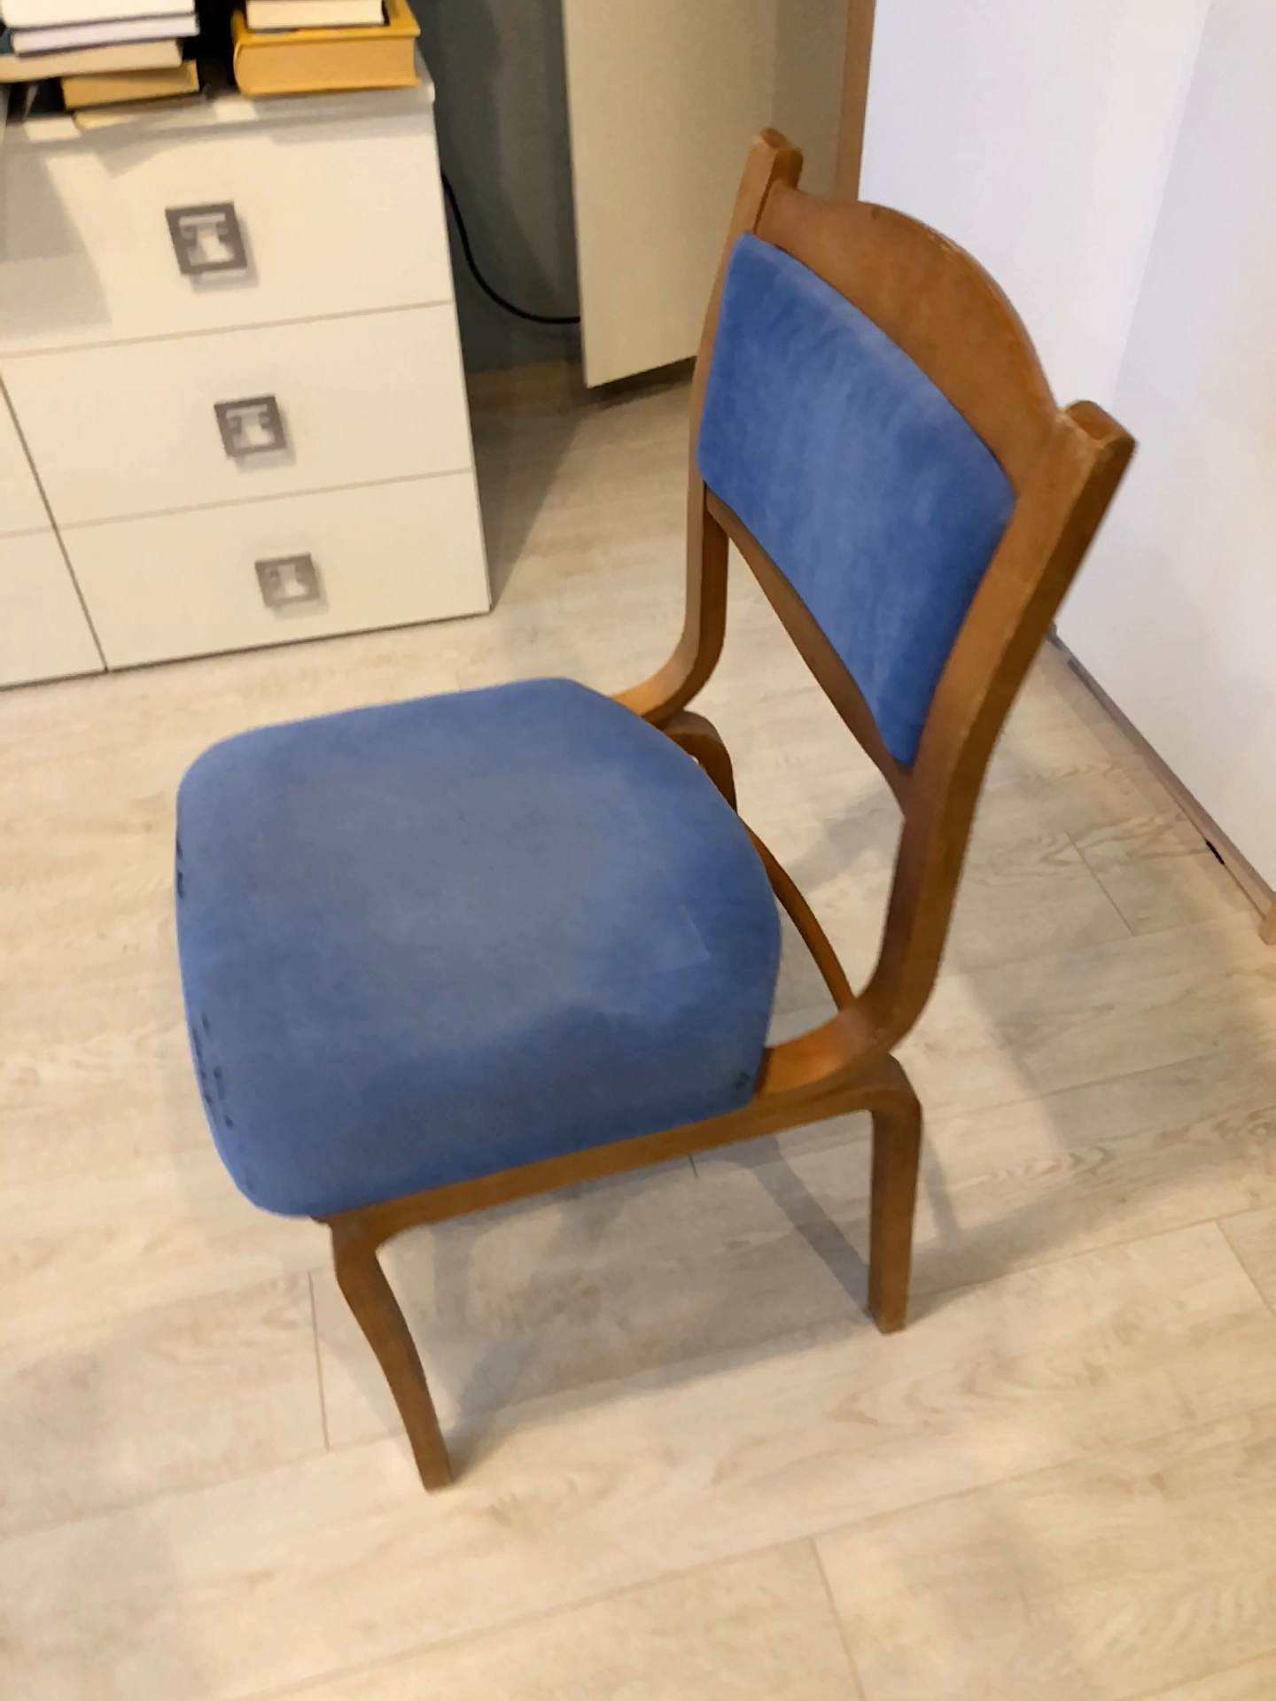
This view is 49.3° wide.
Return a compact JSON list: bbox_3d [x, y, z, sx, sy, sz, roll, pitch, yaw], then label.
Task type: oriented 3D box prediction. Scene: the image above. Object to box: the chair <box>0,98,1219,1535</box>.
[{"bbox_3d":[-0.057,0.026,0.946,0.470,0.805,0.453,-14,48,-12],"label":"chair"}]
